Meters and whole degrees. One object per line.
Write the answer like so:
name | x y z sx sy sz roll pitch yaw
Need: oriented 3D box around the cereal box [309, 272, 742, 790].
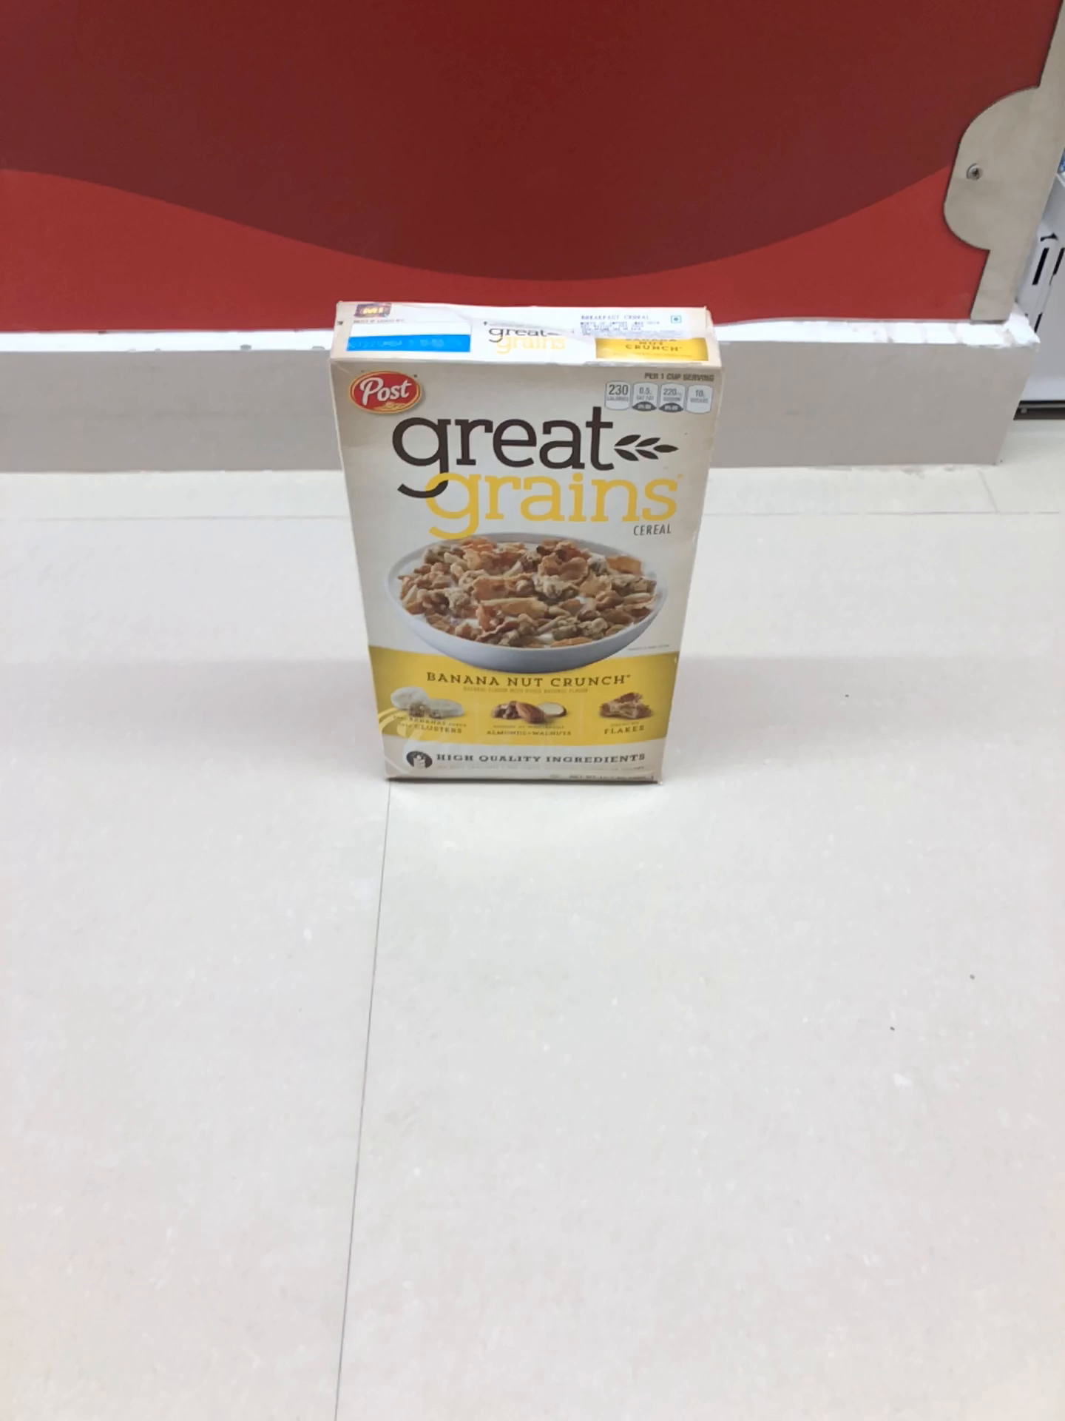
cereal box | -0.006 -0.067 0.550 0.160 0.258 0.060 0 48 -2
